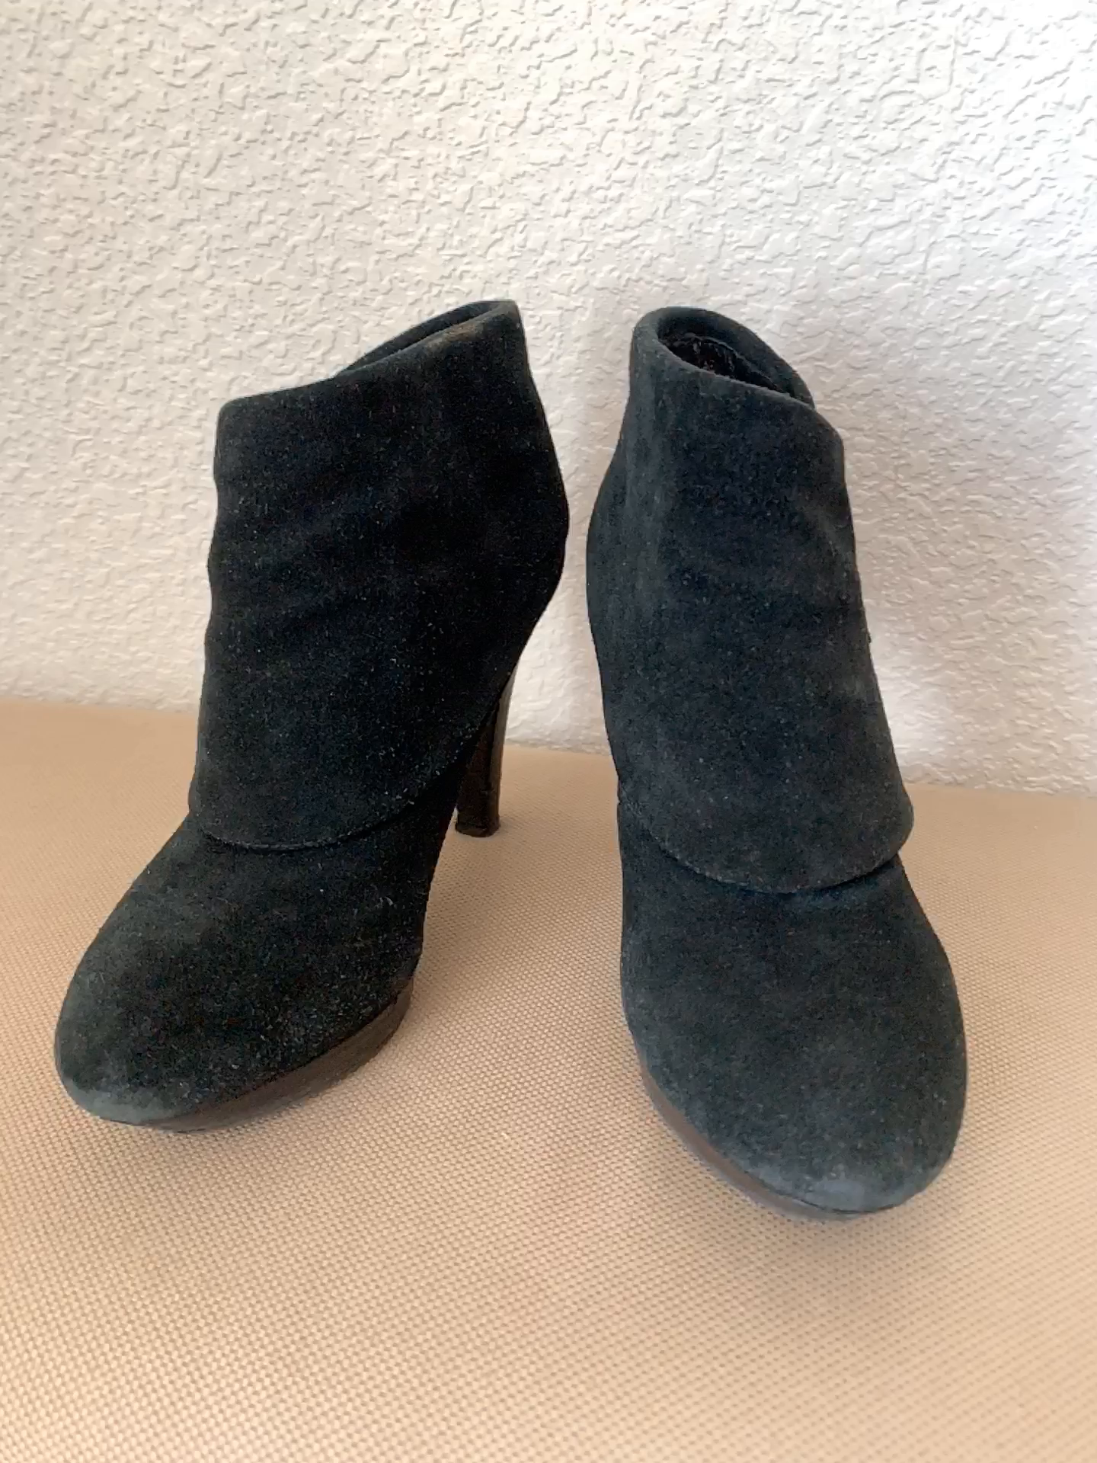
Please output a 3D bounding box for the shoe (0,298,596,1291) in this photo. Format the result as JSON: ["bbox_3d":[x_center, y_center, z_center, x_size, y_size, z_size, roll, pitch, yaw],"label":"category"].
[{"bbox_3d":[-0.076,-0.011,0.304,0.090,0.166,0.218,14,32,24],"label":"shoe"}]

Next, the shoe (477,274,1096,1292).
[{"bbox_3d":[0.038,-0.014,0.291,0.090,0.166,0.218,-4,29,-6],"label":"shoe"}]
